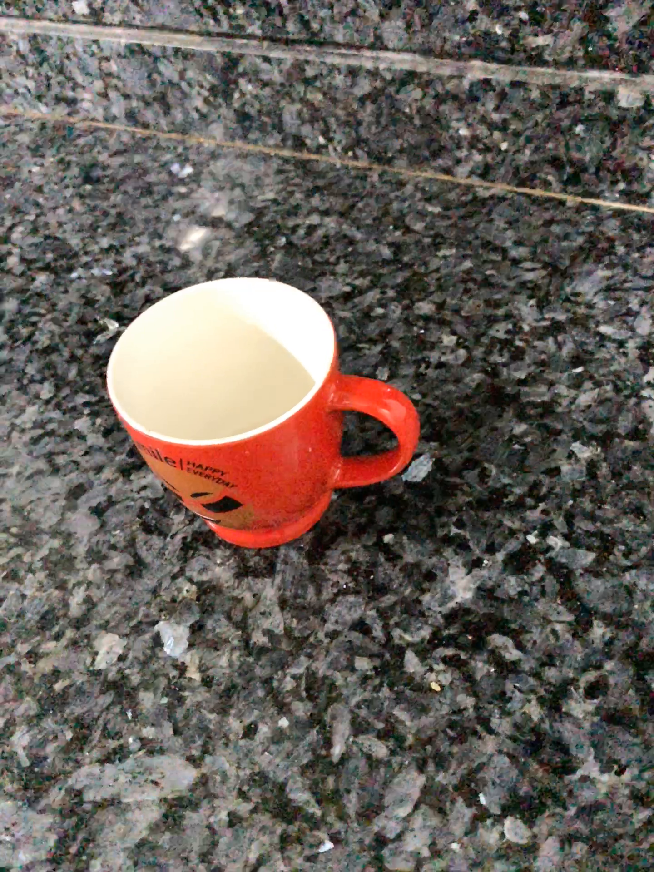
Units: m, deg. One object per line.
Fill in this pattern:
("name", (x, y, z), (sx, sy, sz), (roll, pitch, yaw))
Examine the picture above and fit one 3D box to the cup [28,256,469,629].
("cup", (-0.019, 0.000, 0.225), (0.110, 0.069, 0.070), (15, 55, 19))
